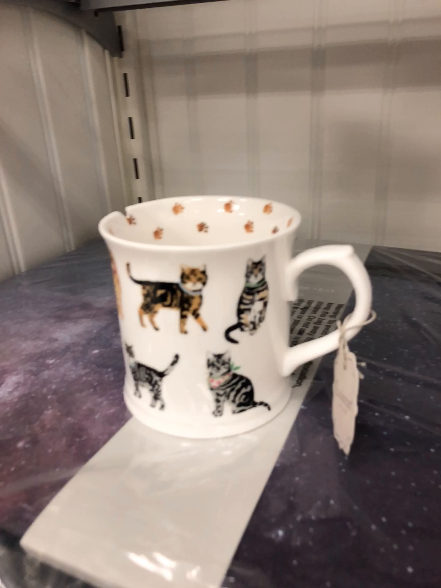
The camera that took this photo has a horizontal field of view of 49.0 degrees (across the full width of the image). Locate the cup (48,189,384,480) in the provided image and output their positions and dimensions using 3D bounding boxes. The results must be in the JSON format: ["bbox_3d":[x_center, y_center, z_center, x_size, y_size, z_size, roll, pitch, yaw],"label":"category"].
[{"bbox_3d":[0.006,0.008,0.253,0.137,0.099,0.096,7,26,20],"label":"cup"}]
